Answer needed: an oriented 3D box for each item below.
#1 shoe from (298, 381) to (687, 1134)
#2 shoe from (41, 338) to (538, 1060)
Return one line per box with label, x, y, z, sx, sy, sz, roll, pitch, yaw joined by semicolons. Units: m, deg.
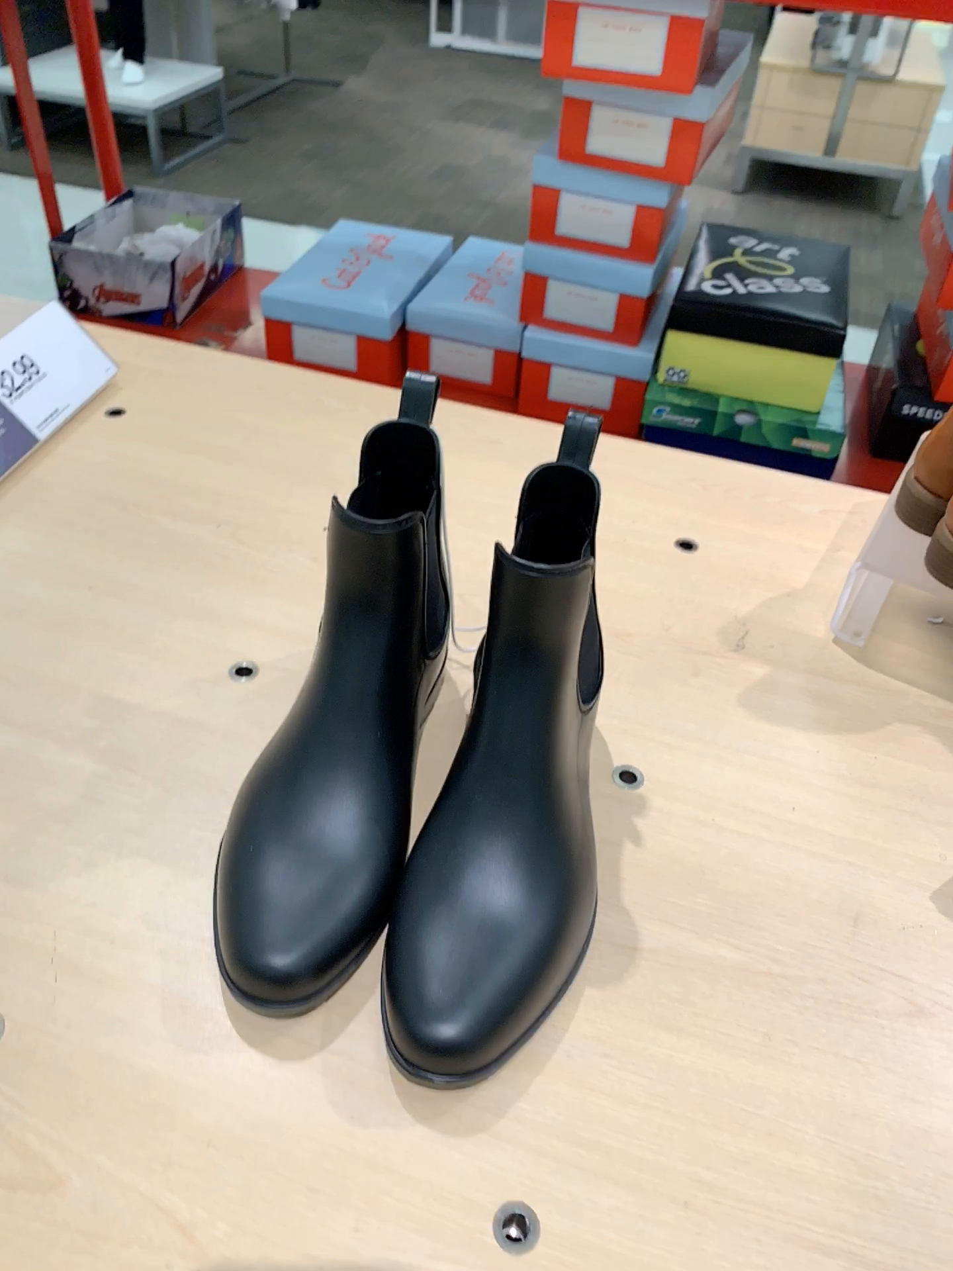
shoe;0.020;0.040;0.472;0.100;0.199;0.287;12;41;8
shoe;-0.062;0.014;0.490;0.113;0.201;0.287;12;41;8
